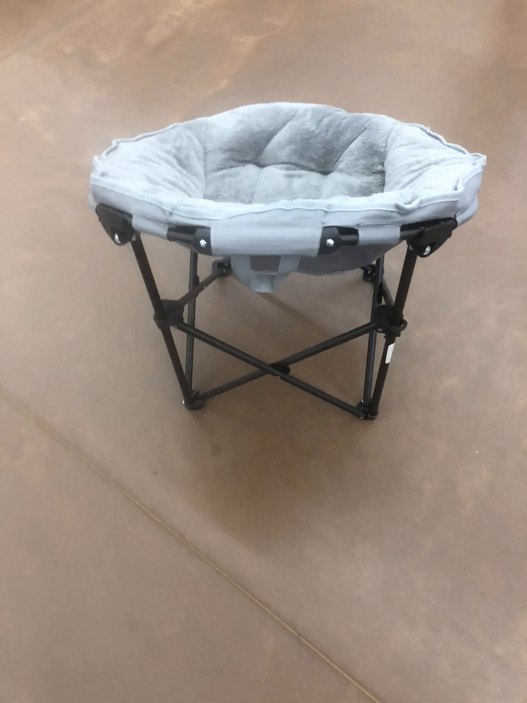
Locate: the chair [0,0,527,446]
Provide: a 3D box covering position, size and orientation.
[{"bbox_3d":[0.008,-0.248,0.989,0.570,0.529,0.631,1,57,3],"label":"chair"}]
